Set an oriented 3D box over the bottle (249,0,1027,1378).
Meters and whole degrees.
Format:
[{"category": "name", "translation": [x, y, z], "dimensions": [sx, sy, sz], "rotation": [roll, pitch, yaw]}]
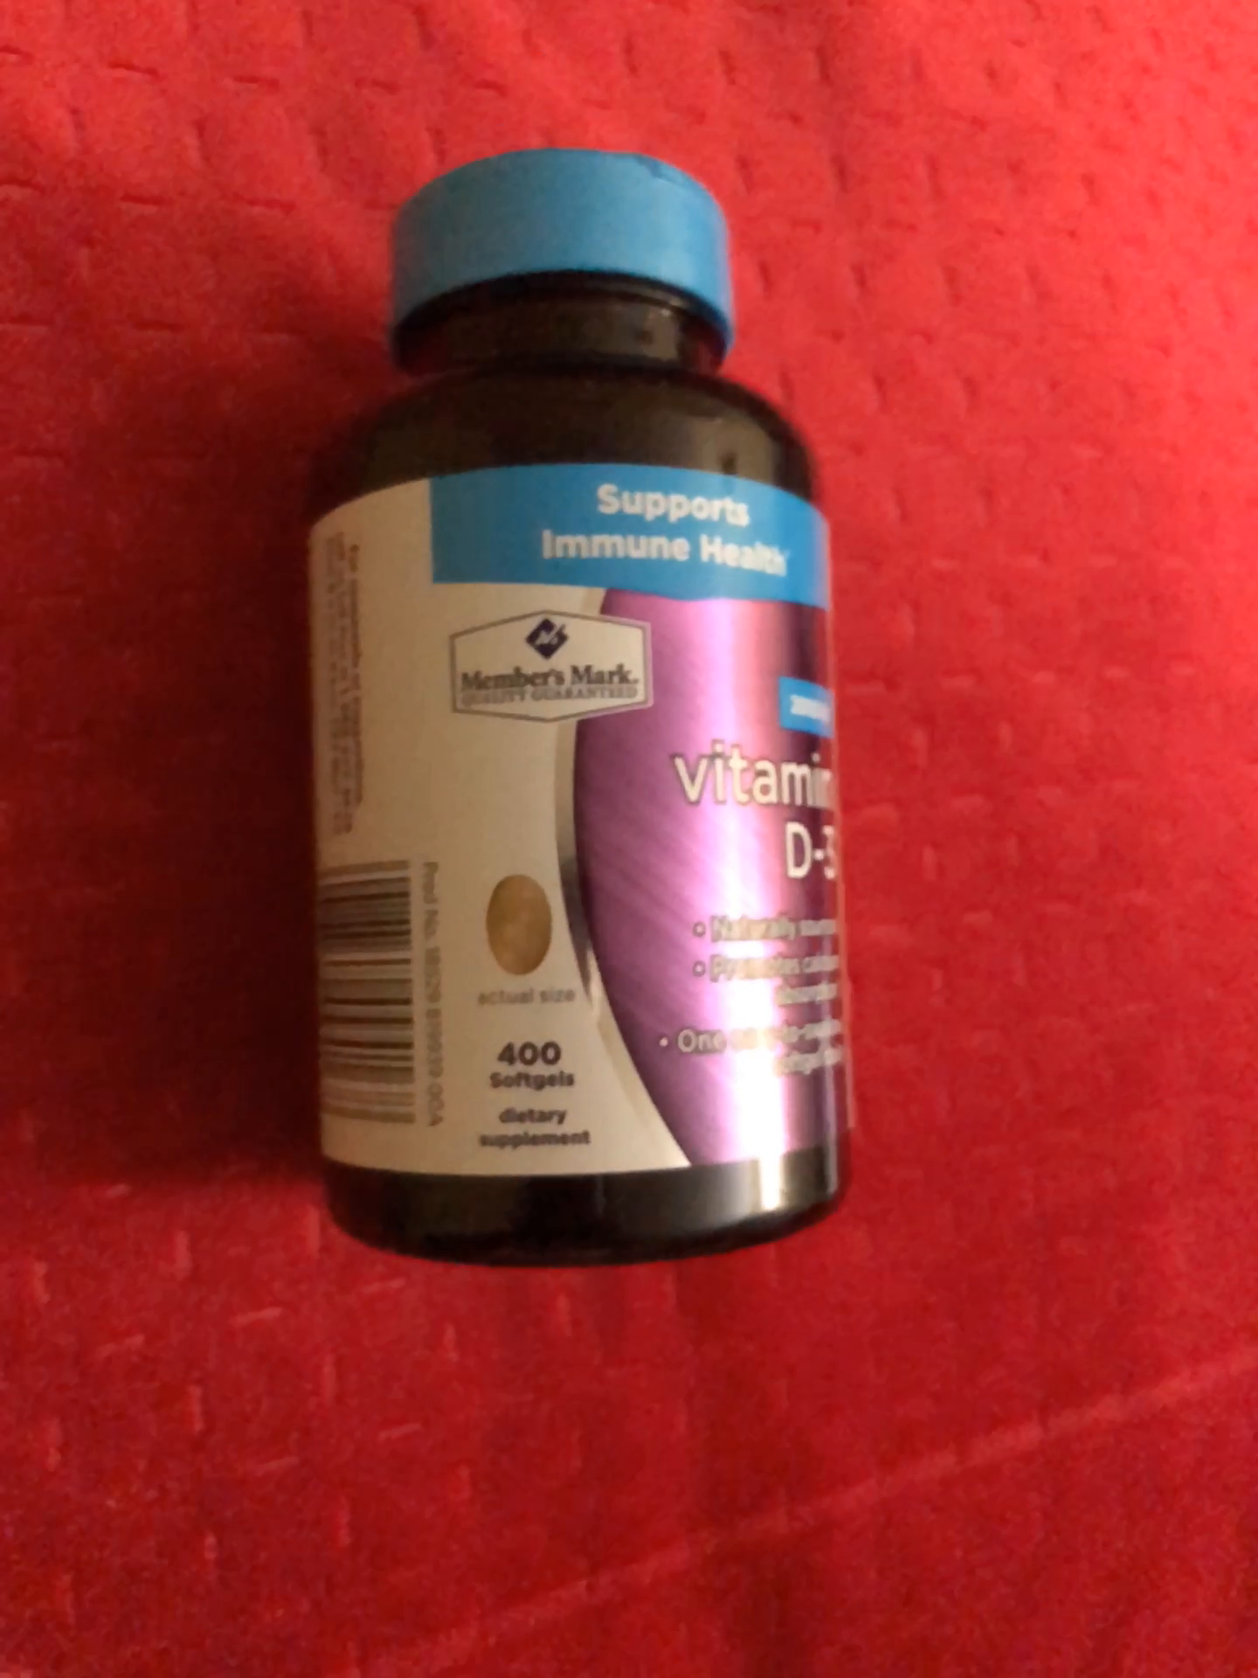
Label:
[{"category": "bottle", "translation": [-0.004, -0.023, 0.167], "dimensions": [0.070, 0.060, 0.140], "rotation": [-2, 88, -18]}]
